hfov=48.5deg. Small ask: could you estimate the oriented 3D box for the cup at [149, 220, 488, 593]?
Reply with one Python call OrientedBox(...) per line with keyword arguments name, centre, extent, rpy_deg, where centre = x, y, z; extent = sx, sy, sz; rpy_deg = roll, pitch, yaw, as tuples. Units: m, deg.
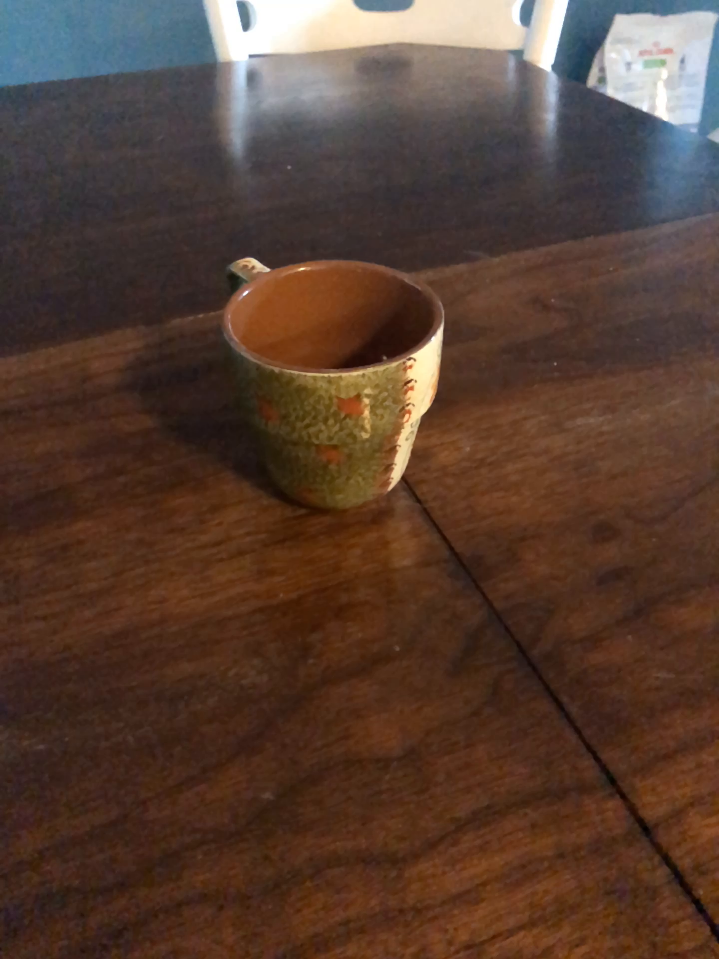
OrientedBox(name="cup", centre=(-0.022, -0.042, 0.396), extent=(0.100, 0.110, 0.130), rpy_deg=(-24, 45, -25))
